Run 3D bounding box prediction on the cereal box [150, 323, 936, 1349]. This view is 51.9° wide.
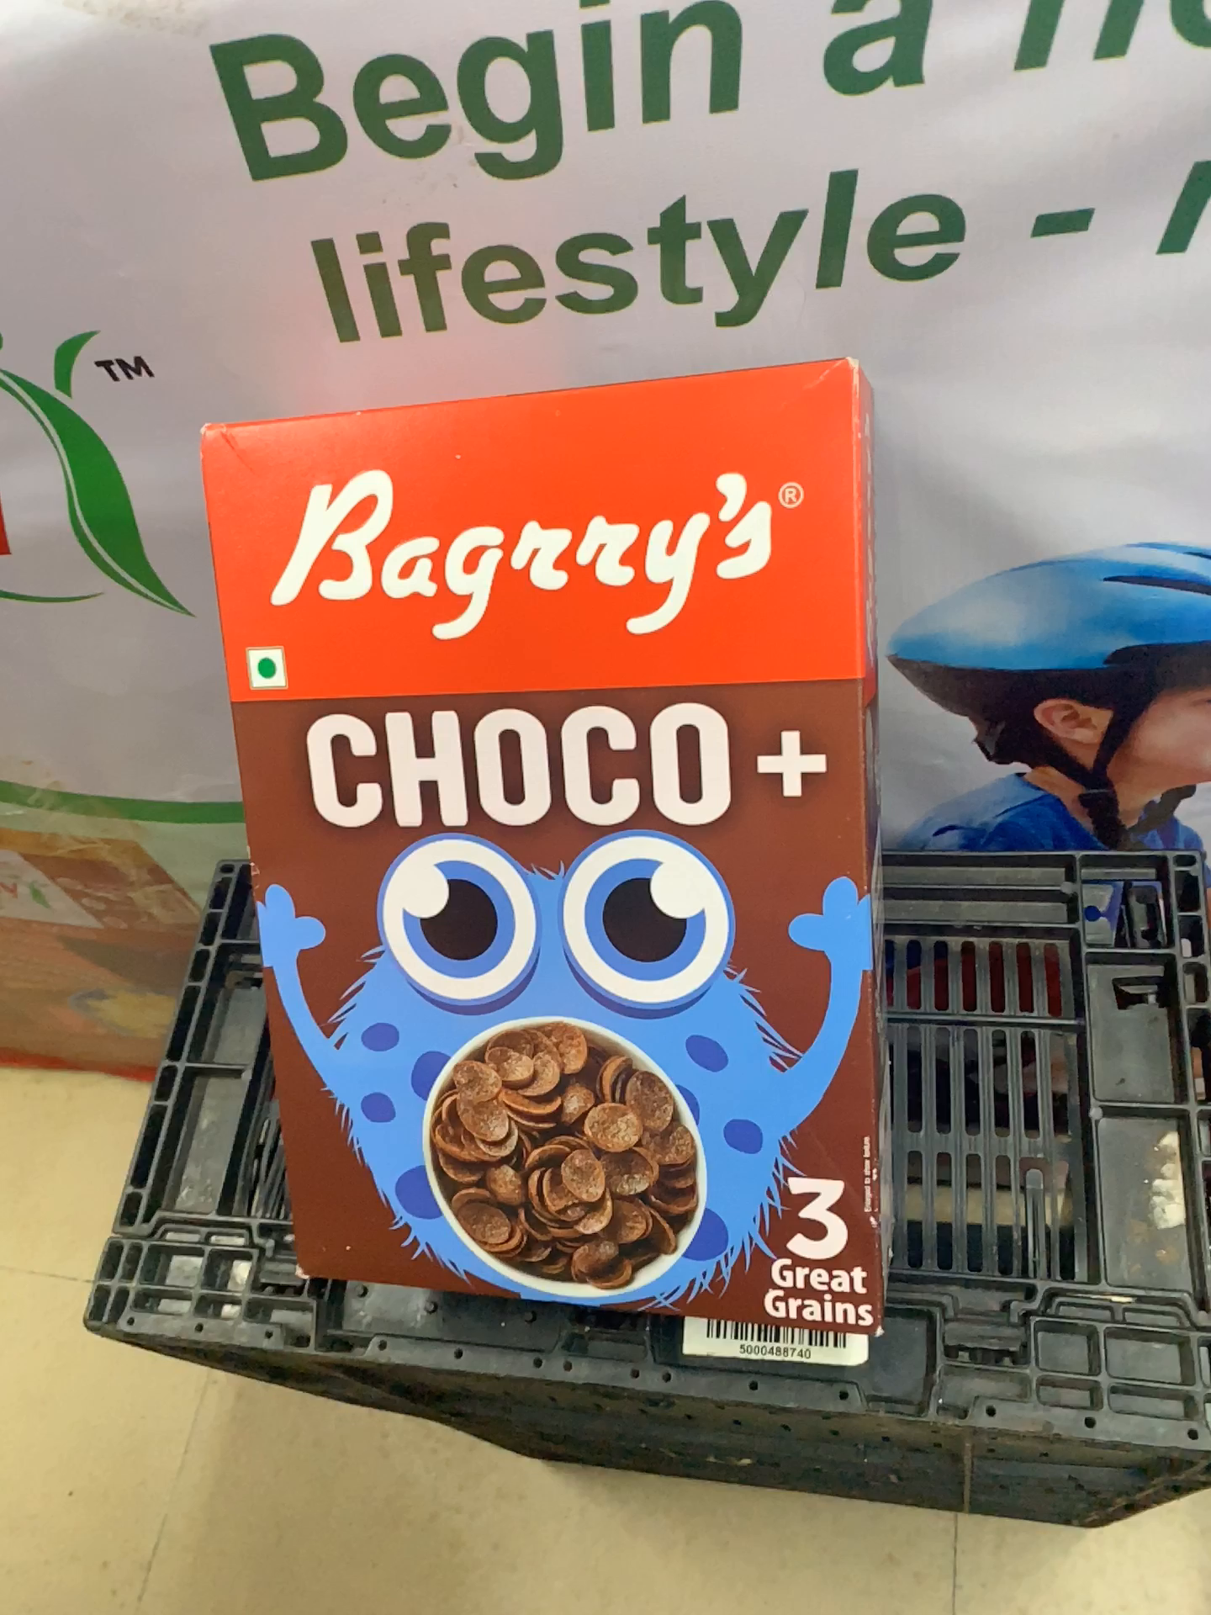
[{"bbox_3d":[-0.007,0.008,0.349,0.190,0.080,0.240,0,100,16],"label":"cereal box"}]
